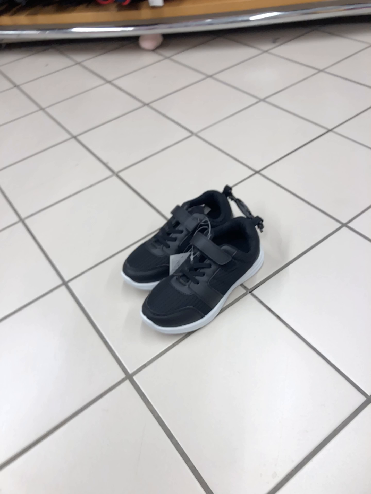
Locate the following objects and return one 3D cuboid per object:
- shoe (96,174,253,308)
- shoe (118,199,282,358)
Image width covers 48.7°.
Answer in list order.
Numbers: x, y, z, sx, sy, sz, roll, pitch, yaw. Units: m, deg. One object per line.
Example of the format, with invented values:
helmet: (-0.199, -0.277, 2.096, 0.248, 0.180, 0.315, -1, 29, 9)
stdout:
shoe: (-0.010, -0.018, 0.630, 0.223, 0.064, 0.098, -34, 50, -22)
shoe: (0.028, 0.034, 0.573, 0.098, 0.064, 0.223, 31, 58, 33)
